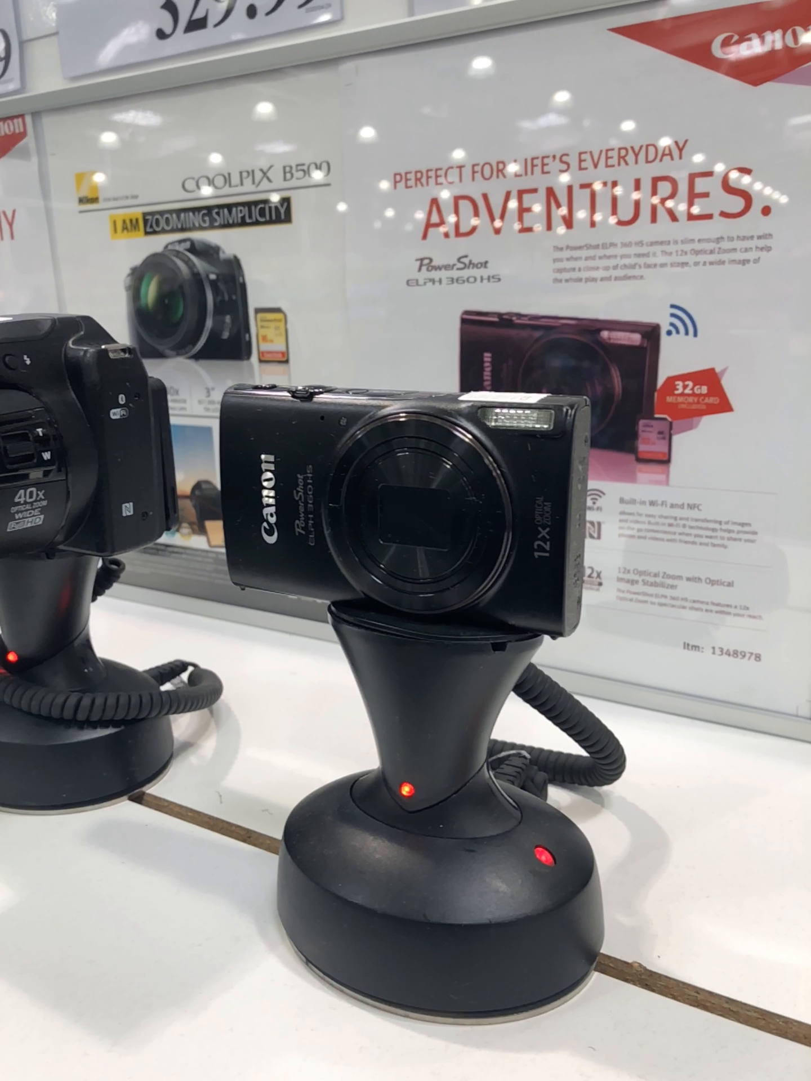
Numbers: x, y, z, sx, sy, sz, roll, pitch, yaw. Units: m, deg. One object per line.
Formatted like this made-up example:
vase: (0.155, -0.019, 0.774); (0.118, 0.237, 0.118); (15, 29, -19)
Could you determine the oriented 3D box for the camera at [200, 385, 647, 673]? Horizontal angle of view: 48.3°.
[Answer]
camera: (0.003, -0.009, 0.243); (0.110, 0.060, 0.040); (6, 16, 28)
